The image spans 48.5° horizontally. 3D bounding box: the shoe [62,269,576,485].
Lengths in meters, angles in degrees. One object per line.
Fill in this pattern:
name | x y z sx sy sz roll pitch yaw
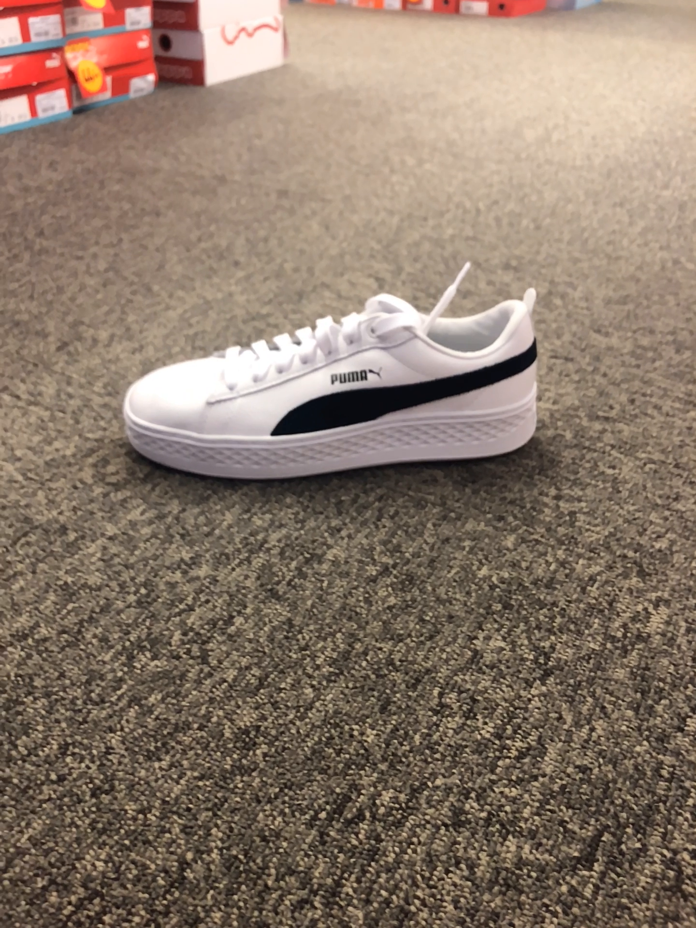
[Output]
shoe | -0.016 -0.059 0.507 0.290 0.089 0.111 -2 36 0
